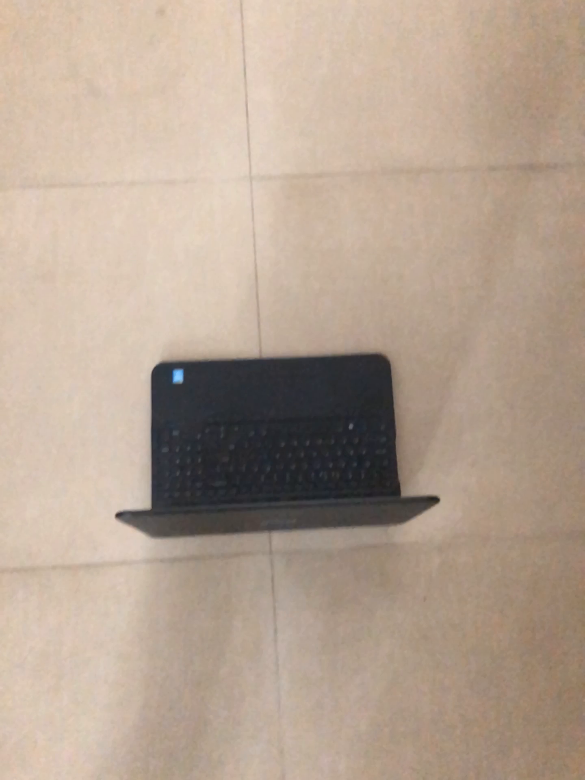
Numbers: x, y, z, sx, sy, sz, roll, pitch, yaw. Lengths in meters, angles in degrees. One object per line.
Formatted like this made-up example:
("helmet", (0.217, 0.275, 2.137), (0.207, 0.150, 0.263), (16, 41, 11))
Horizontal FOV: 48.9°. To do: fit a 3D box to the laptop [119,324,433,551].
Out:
("laptop", (-0.026, 0.065, 0.858), (0.351, 0.228, 0.247), (-3, 80, -2))
